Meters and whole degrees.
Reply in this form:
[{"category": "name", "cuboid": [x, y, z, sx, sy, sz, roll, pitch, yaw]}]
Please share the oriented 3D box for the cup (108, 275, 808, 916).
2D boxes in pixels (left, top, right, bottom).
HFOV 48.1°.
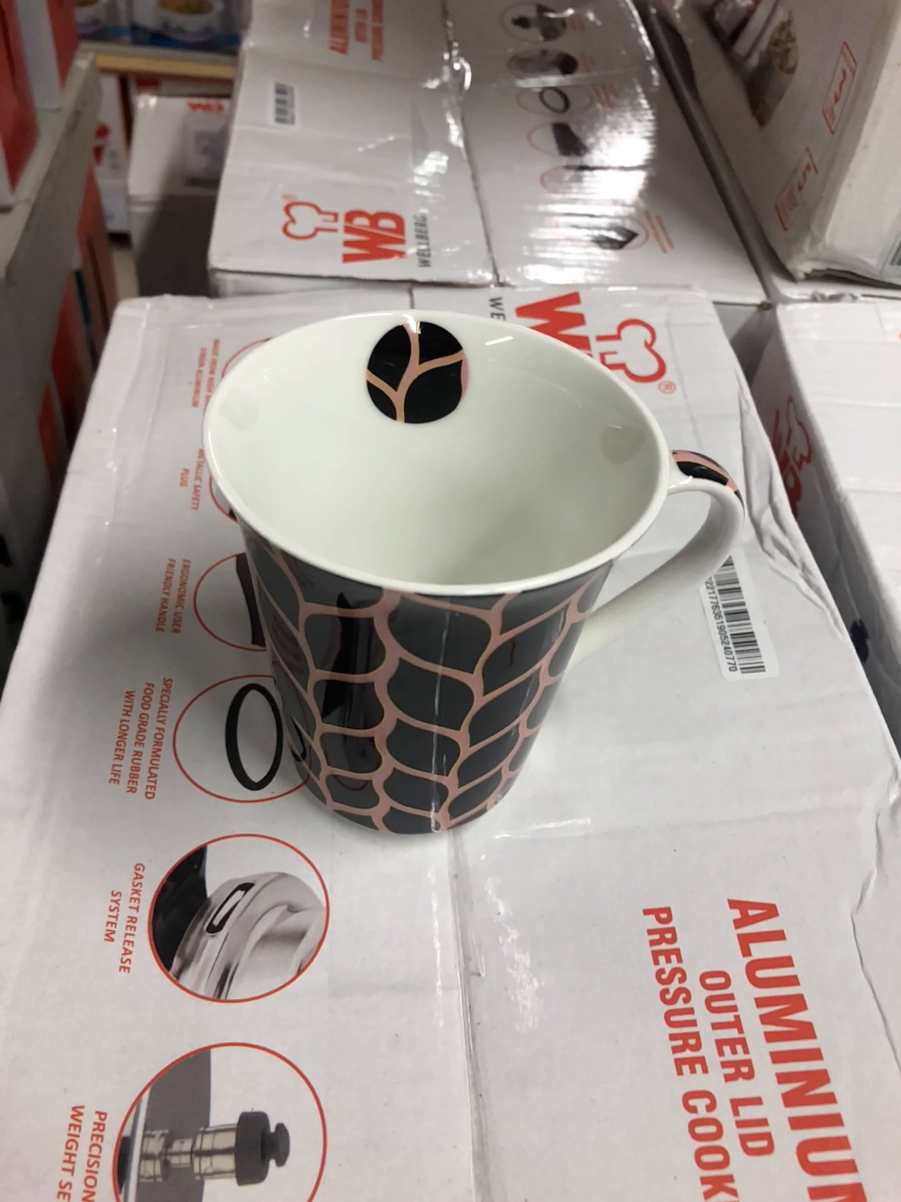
[{"category": "cup", "cuboid": [-0.008, -0.002, 0.218, 0.110, 0.099, 0.080, -7, 50, -14]}]
